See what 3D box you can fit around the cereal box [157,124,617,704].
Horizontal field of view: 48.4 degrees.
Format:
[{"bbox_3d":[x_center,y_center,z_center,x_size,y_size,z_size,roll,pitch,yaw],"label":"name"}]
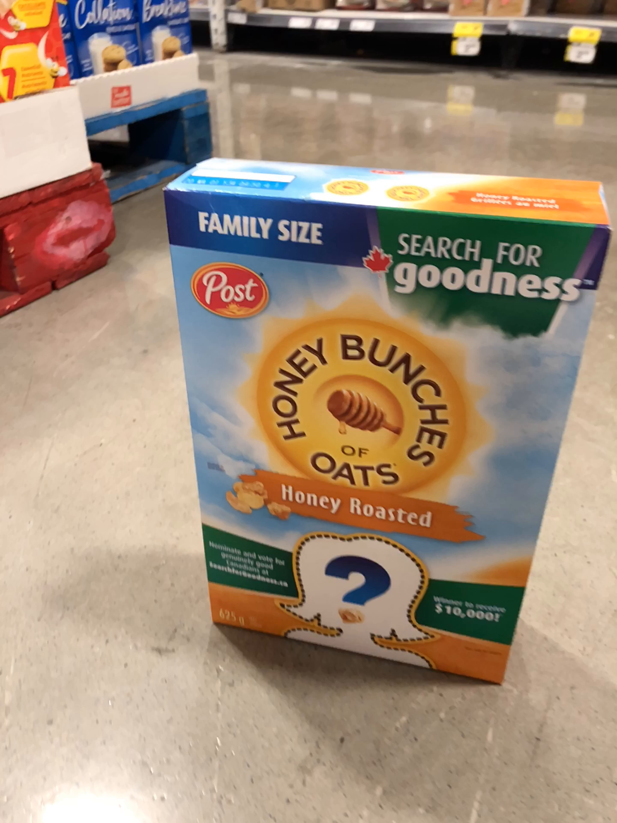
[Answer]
[{"bbox_3d":[0.048,0.016,0.382,0.210,0.309,0.070,8,35,13],"label":"cereal box"}]
